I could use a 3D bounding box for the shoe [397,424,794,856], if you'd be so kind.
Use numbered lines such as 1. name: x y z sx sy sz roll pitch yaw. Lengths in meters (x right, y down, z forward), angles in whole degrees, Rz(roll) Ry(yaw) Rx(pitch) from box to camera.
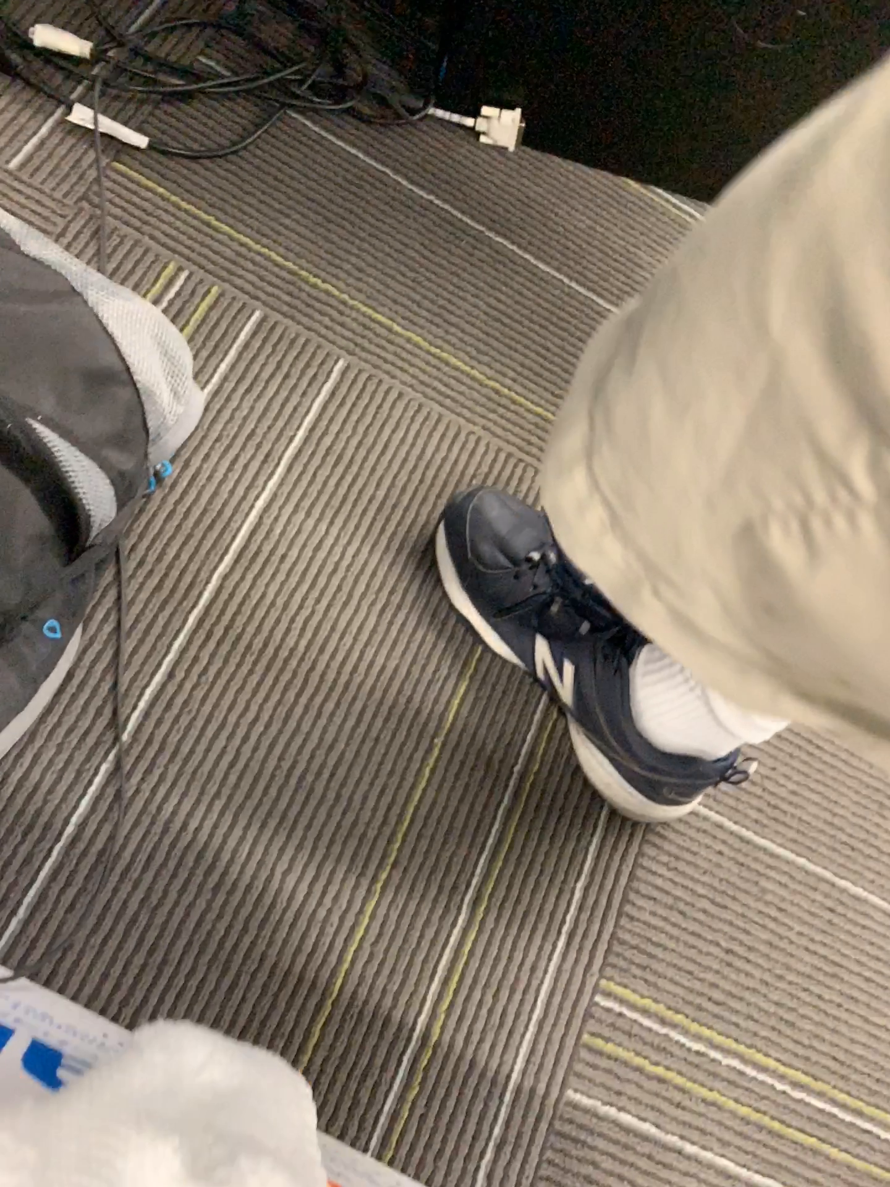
1. shoe: 0.109 0.035 0.681 0.120 0.077 0.296 -35 86 -25

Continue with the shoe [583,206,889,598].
1. shoe: 0.253 -0.124 0.693 0.129 0.293 0.122 -41 90 -27
